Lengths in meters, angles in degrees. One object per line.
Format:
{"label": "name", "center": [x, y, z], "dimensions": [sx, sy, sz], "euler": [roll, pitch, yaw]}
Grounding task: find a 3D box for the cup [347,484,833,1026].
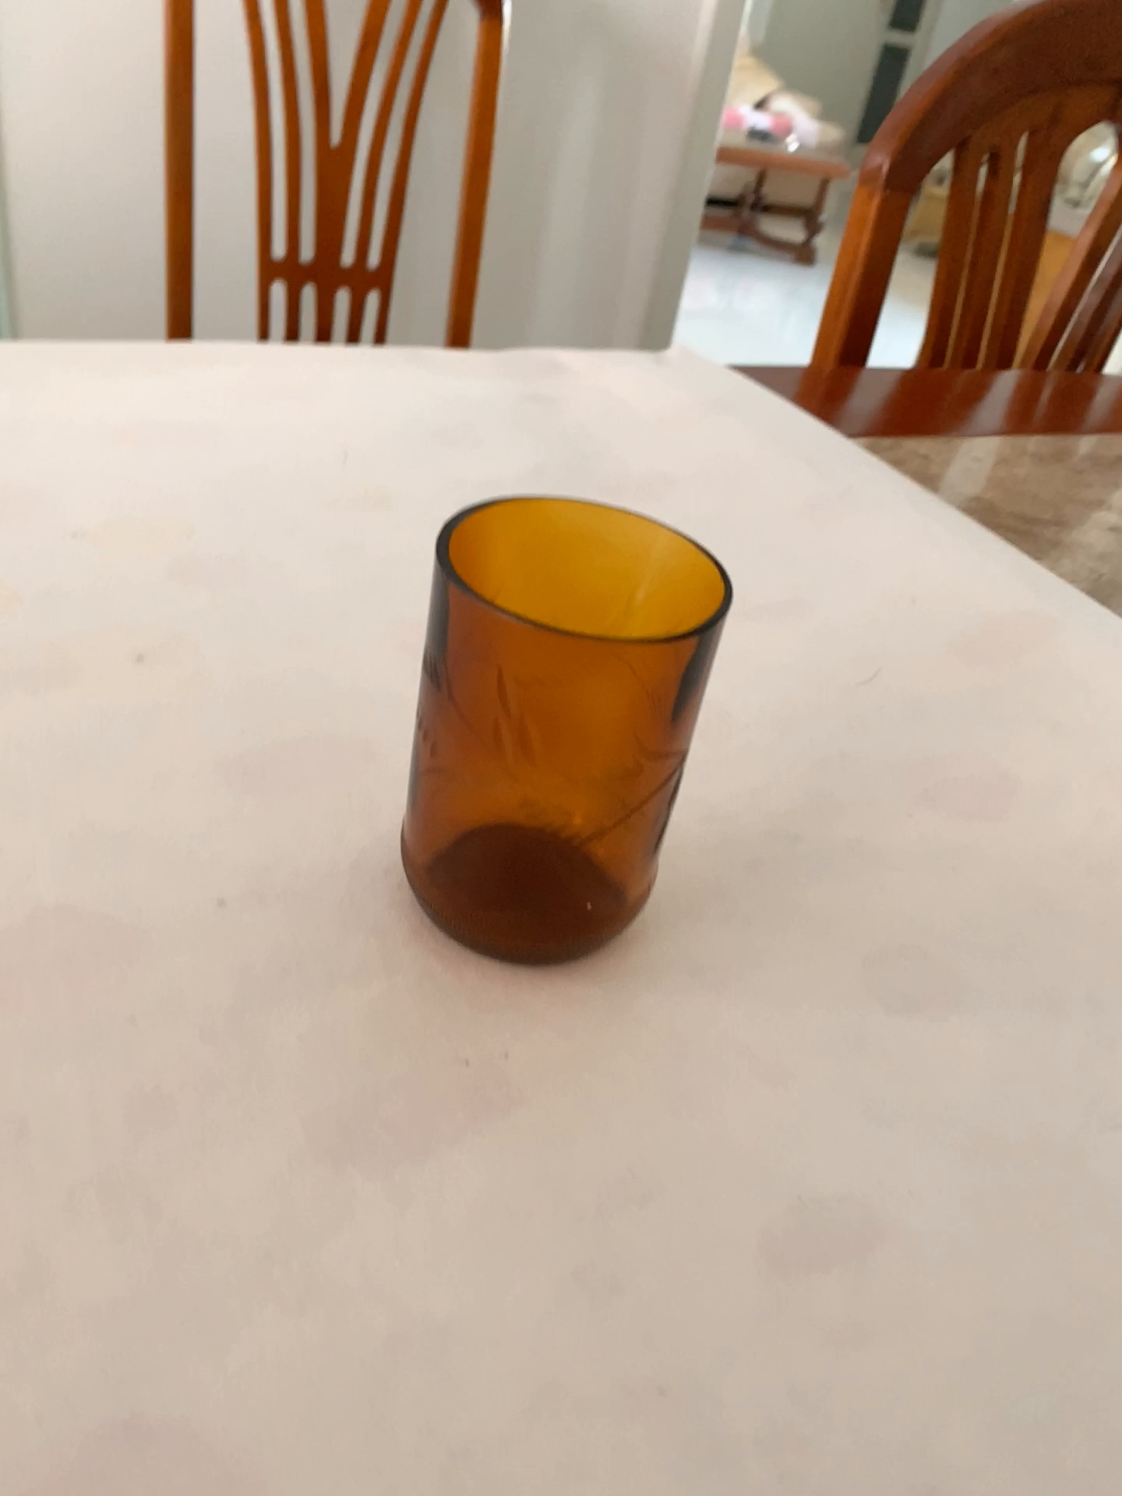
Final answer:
{"label": "cup", "center": [-0.001, -0.002, 0.262], "dimensions": [0.070, 0.089, 0.070], "euler": [8, 34, -6]}
